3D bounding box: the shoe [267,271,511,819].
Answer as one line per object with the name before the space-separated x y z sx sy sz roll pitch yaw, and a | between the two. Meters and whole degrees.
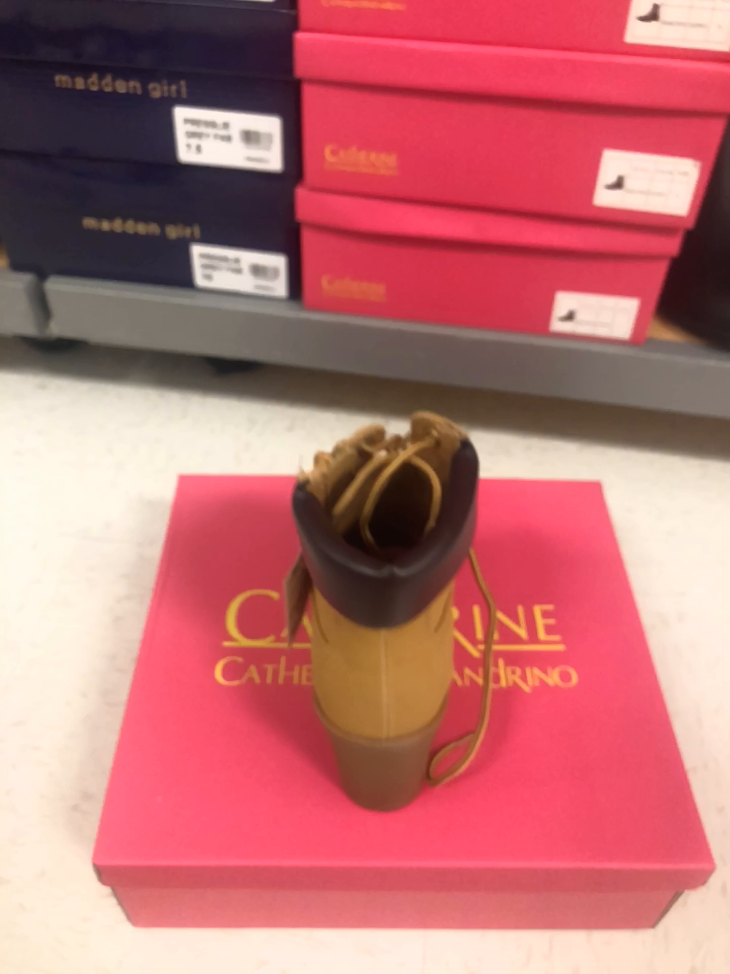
shoe | 0.013 0.023 0.420 0.085 0.169 0.218 4 43 2
